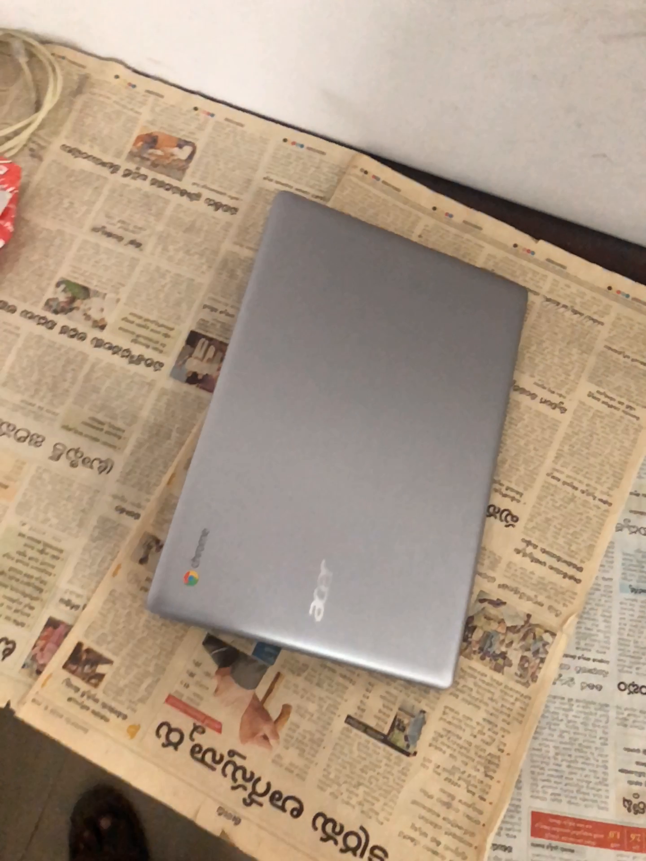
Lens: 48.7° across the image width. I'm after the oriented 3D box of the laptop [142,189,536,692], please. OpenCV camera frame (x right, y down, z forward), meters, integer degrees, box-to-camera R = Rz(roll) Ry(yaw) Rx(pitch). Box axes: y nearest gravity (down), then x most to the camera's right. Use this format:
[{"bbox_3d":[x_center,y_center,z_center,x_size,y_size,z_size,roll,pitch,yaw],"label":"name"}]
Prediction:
[{"bbox_3d":[0.023,-0.004,0.542,0.210,0.058,0.330,15,73,4],"label":"laptop"}]
